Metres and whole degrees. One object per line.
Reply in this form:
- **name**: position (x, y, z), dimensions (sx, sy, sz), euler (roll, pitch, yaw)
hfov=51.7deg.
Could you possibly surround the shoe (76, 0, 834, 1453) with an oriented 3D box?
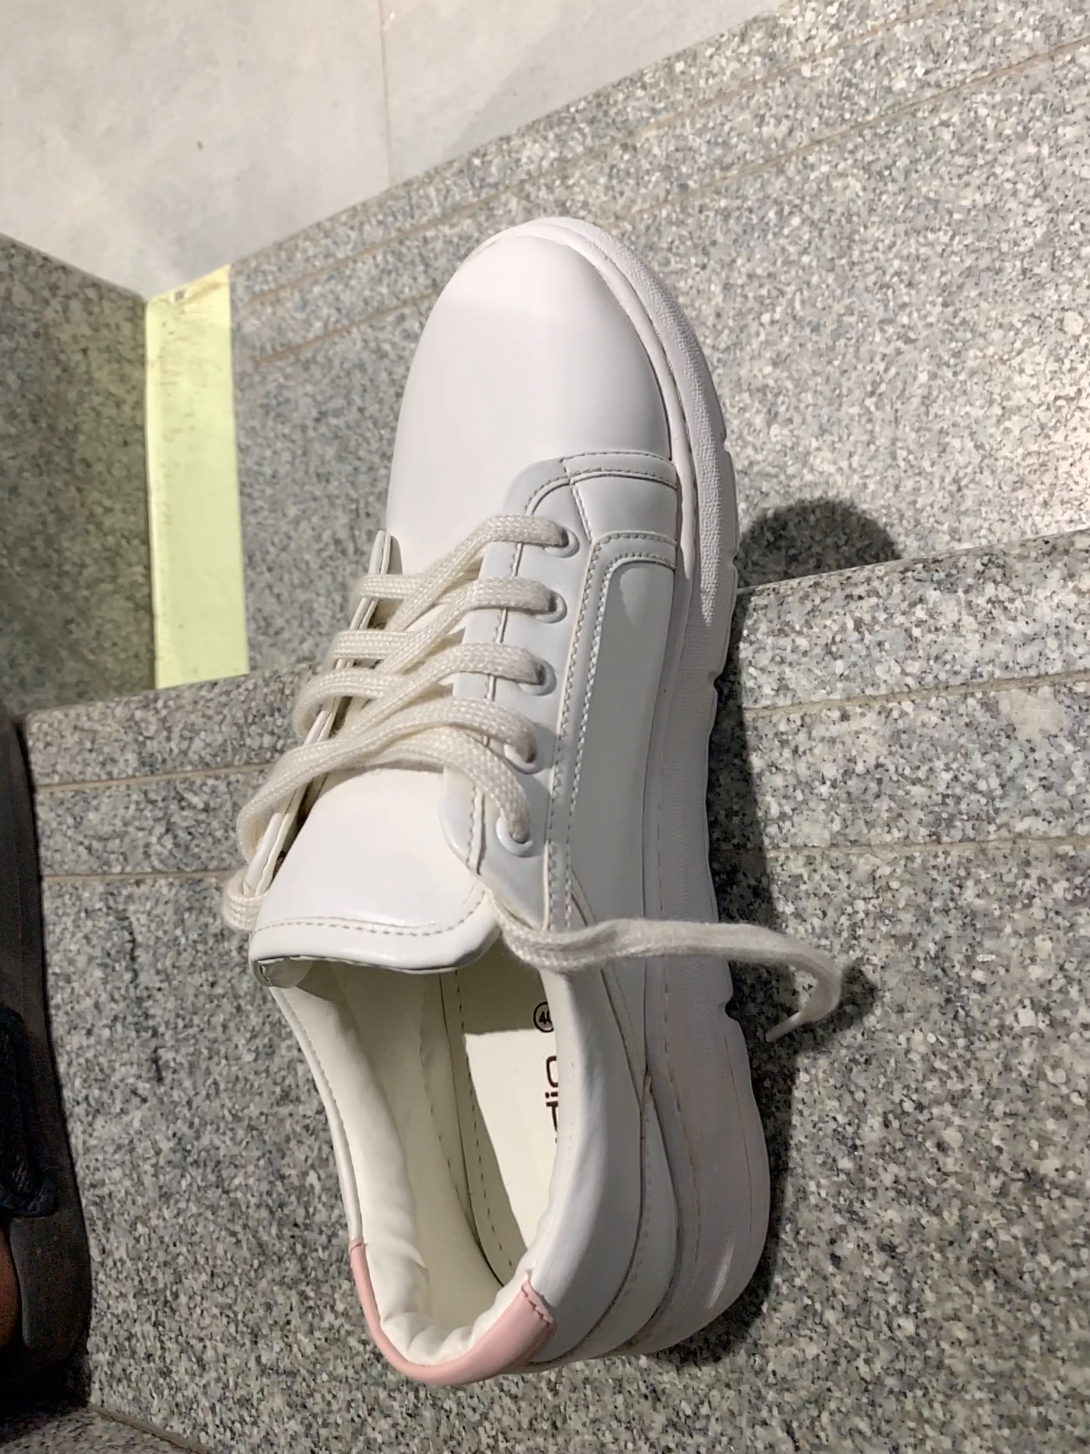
- **shoe**: position (-0.020, 0.015, 0.252), dimensions (0.111, 0.110, 0.290), euler (-7, 84, 34)
